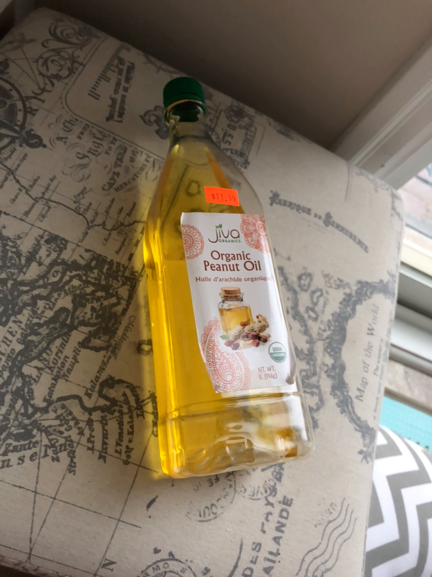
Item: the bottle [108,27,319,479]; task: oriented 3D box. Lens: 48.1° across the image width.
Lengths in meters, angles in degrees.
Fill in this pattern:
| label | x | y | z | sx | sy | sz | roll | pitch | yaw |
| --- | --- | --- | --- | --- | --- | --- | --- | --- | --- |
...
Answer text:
| label | x | y | z | sx | sy | sz | roll | pitch | yaw |
| --- | --- | --- | --- | --- | --- | --- | --- | --- | --- |
| bottle | -0.014 | -0.027 | 0.312 | 0.080 | 0.070 | 0.270 | 0 | 70 | -23 |
